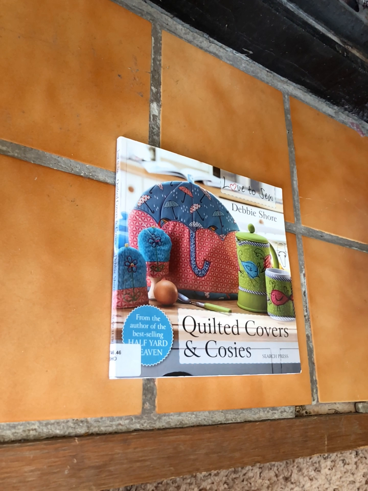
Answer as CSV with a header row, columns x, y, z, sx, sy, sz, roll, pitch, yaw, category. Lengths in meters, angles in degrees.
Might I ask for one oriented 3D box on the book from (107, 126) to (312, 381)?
x,y,z,sx,sy,sz,roll,pitch,yaw,category
0.035,0.015,0.405,0.225,0.015,0.219,10,70,-33,book
